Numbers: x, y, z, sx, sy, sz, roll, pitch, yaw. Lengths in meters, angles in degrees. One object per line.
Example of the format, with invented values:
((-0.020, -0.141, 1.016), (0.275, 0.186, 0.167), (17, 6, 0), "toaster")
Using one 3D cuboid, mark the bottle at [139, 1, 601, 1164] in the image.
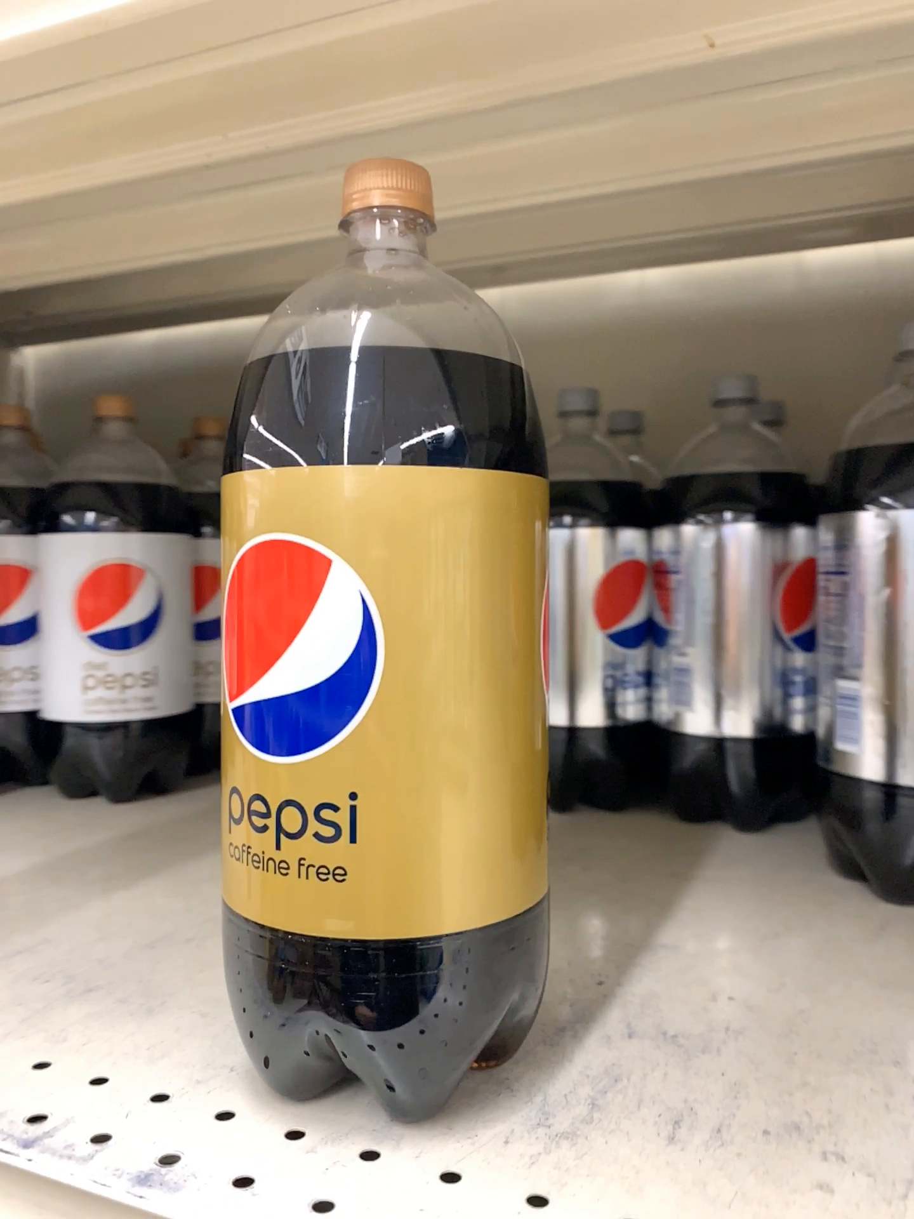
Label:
((-0.024, -0.008, 0.319), (0.110, 0.300, 0.110), (0, 2, 0), "bottle")
